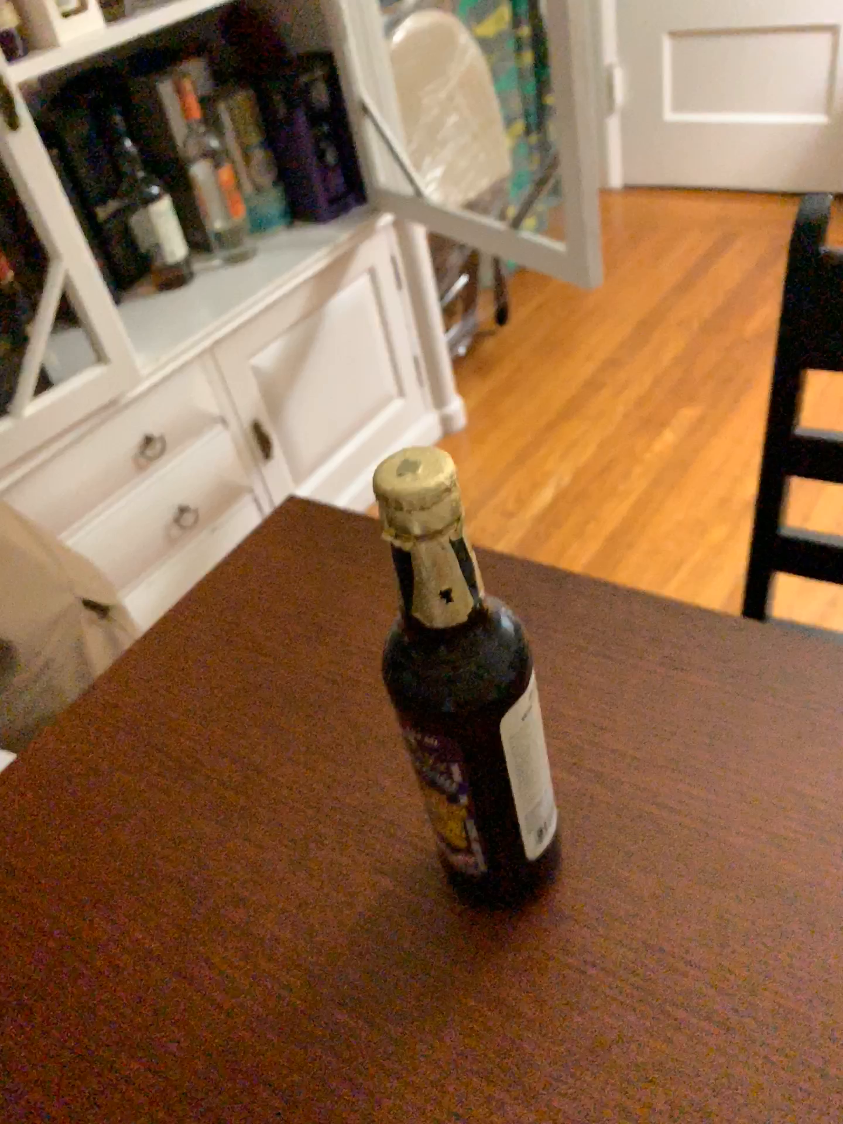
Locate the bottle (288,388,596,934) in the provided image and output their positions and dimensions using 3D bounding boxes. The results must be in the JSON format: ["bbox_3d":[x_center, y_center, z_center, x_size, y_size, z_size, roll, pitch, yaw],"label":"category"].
[{"bbox_3d":[0.024,0.053,0.339,0.070,0.228,0.070,-8,41,7],"label":"bottle"}]
